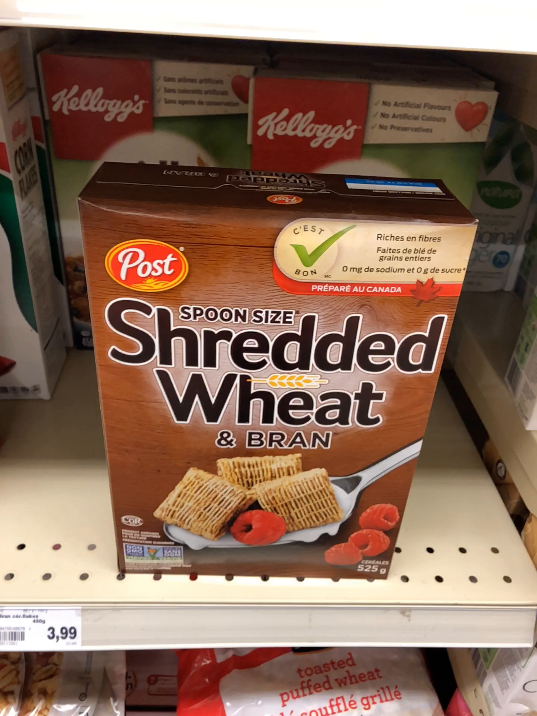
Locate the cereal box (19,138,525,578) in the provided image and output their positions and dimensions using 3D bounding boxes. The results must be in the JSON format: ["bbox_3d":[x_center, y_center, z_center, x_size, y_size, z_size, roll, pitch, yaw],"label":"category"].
[{"bbox_3d":[-0.004,0.016,0.345,0.210,0.248,0.071,2,33,-2],"label":"cereal box"}]
